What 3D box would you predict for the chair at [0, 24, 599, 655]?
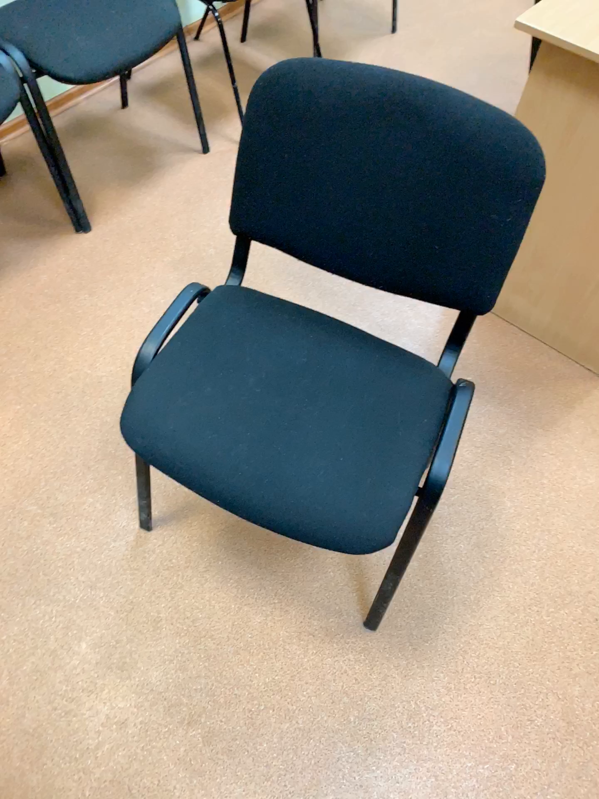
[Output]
[{"bbox_3d":[0.027,-0.046,1.072,0.574,0.785,0.594,22,57,10],"label":"chair"}]
